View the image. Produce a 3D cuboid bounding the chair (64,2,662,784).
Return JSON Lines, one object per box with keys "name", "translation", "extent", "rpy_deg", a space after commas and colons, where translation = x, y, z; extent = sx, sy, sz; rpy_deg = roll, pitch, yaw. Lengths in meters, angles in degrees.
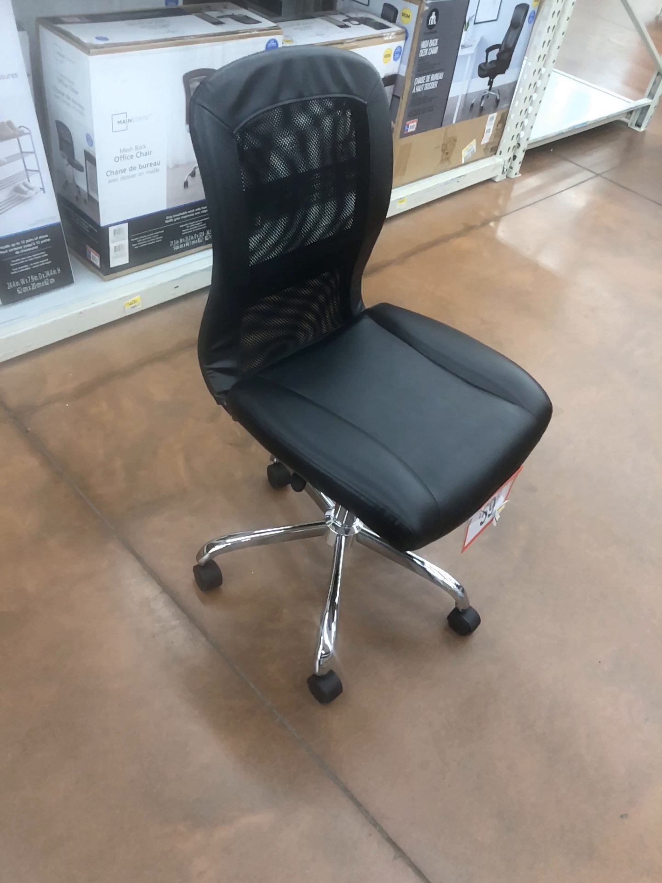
{"name": "chair", "translation": [0.112, -0.109, 1.145], "extent": [0.651, 0.817, 0.682], "rpy_deg": [37, 49, 25]}
